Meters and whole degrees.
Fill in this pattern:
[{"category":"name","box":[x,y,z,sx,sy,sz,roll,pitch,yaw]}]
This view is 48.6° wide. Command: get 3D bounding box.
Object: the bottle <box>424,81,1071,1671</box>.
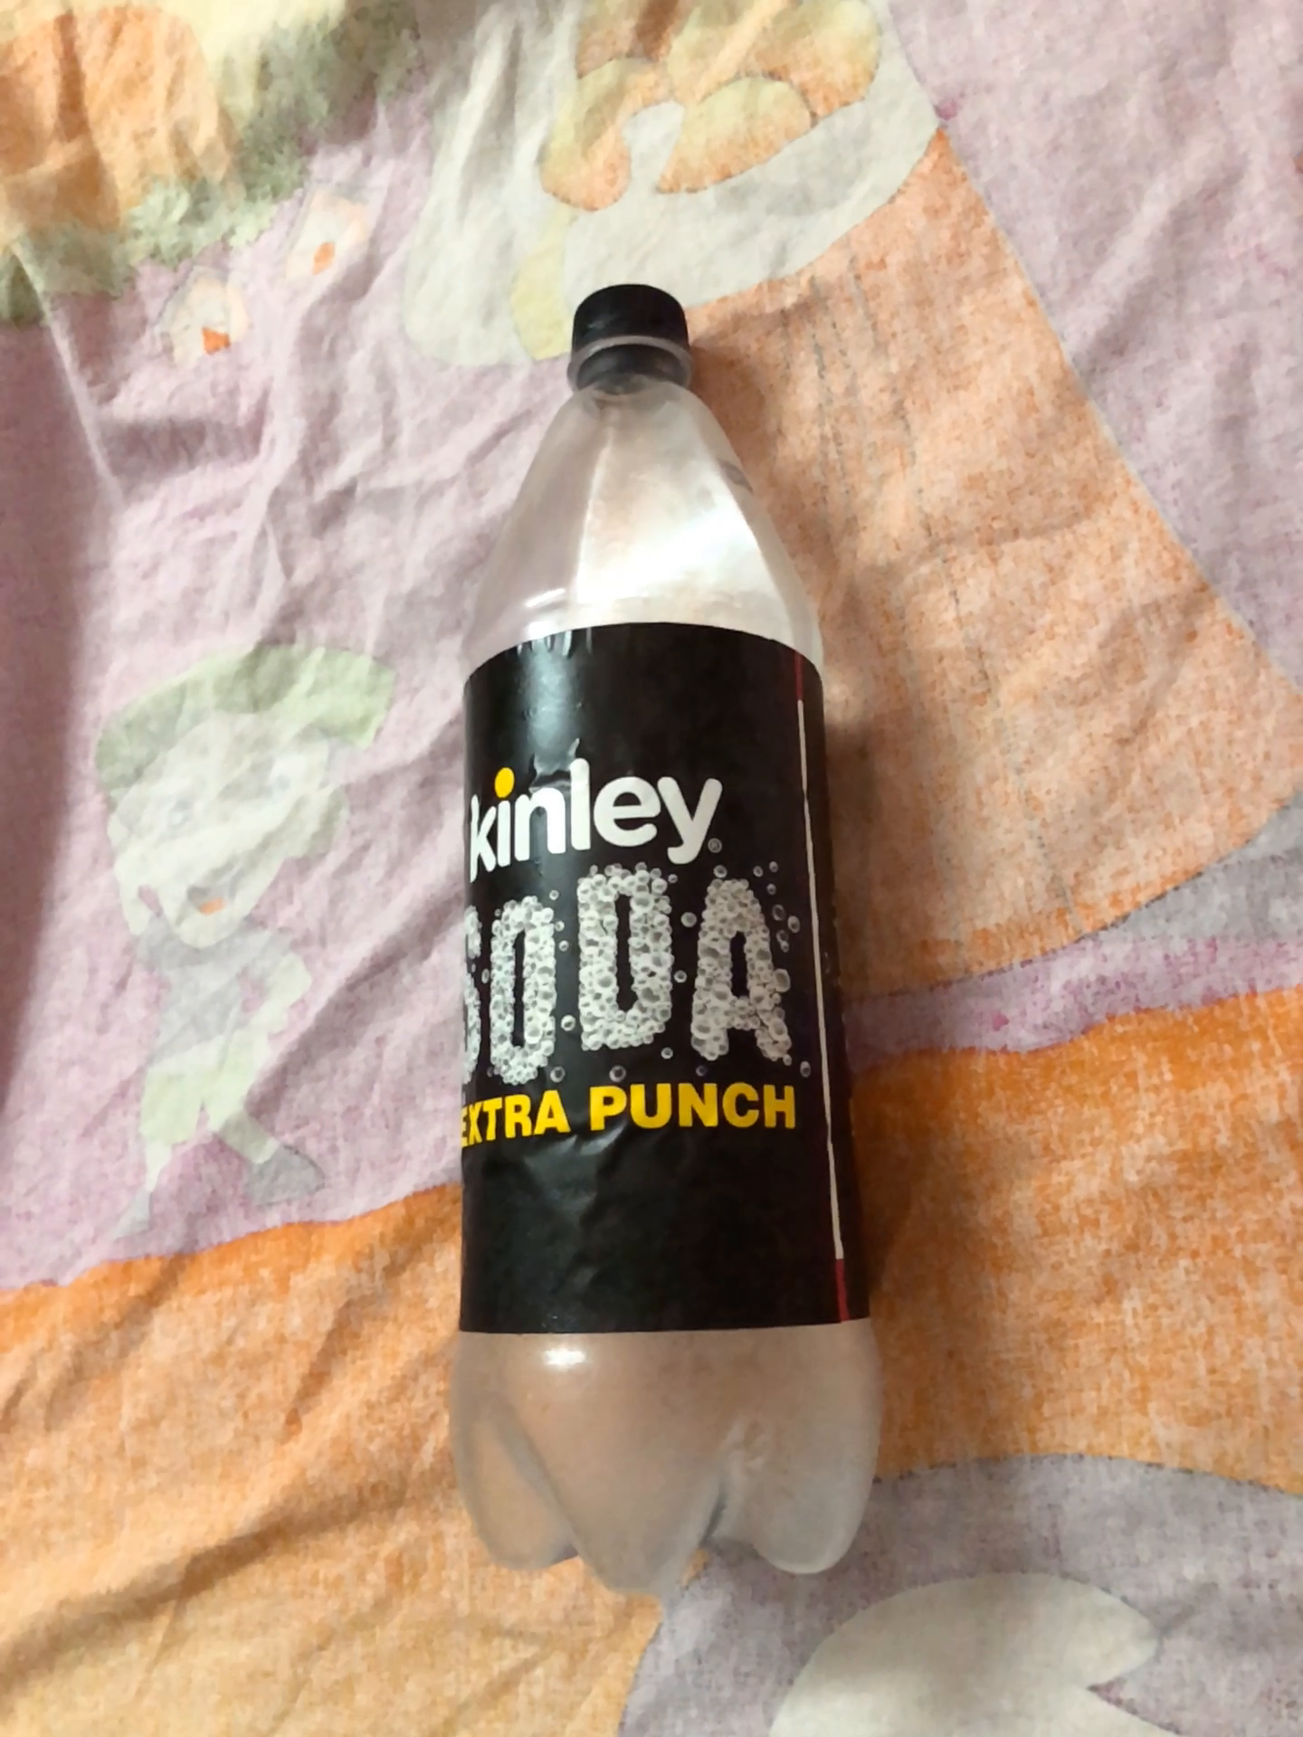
[{"category":"bottle","box":[0.019,-0.001,0.302,0.090,0.080,0.280,-9,78,21]}]
